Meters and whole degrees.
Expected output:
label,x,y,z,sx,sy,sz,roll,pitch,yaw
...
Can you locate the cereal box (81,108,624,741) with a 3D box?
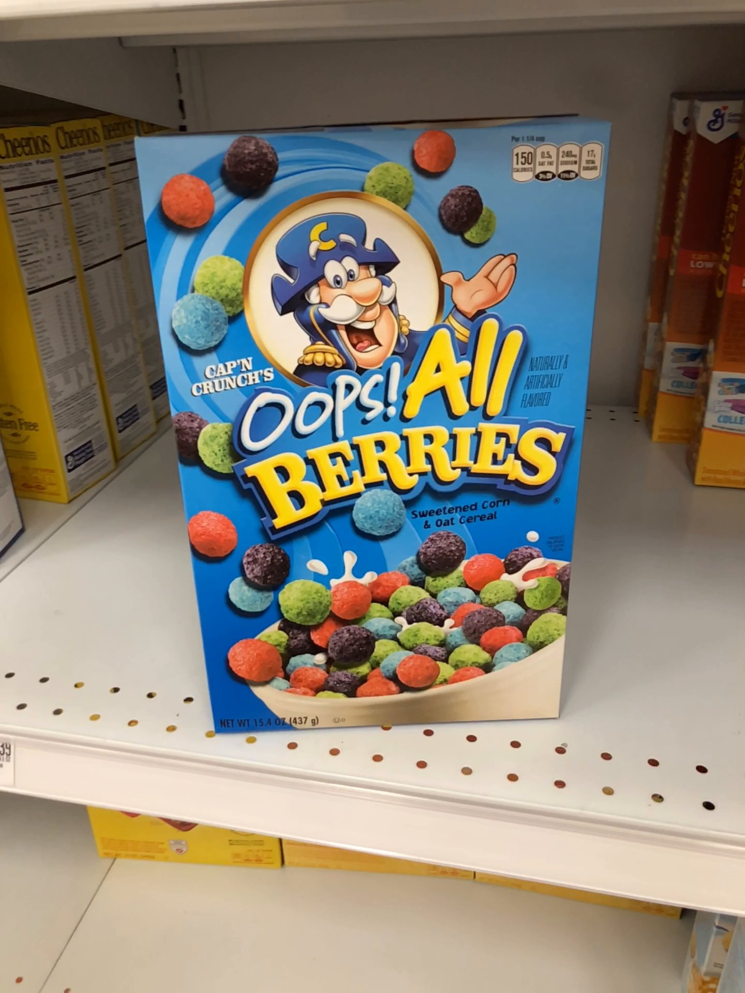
label,x,y,z,sx,sy,sz,roll,pitch,yaw
cereal box,-0.002,-0.025,0.440,0.220,0.319,0.080,-3,27,0
